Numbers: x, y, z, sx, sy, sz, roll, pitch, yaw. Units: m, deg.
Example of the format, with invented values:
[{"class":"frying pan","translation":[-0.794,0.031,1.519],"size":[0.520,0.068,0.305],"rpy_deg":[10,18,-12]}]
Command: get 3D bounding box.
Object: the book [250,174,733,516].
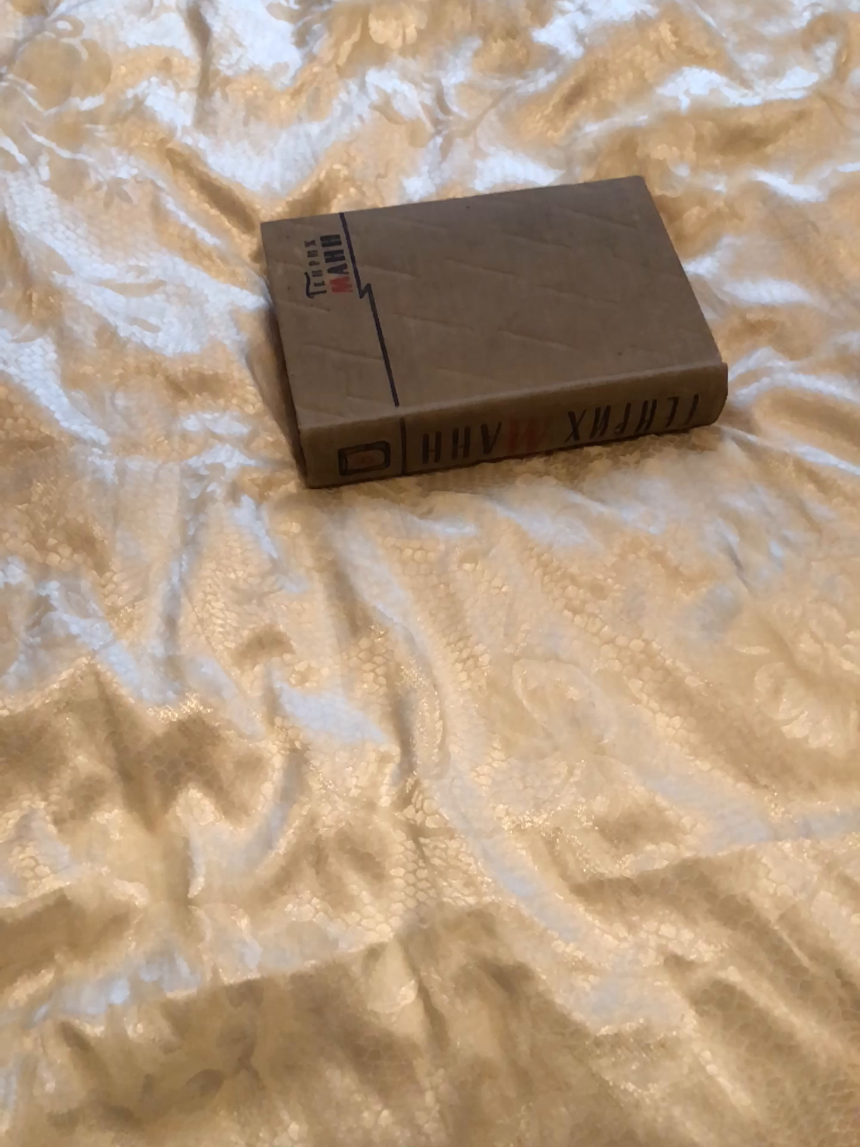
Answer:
[{"class":"book","translation":[0.024,-0.119,0.482],"size":[0.208,0.051,0.142],"rpy_deg":[-10,66,-6]}]
